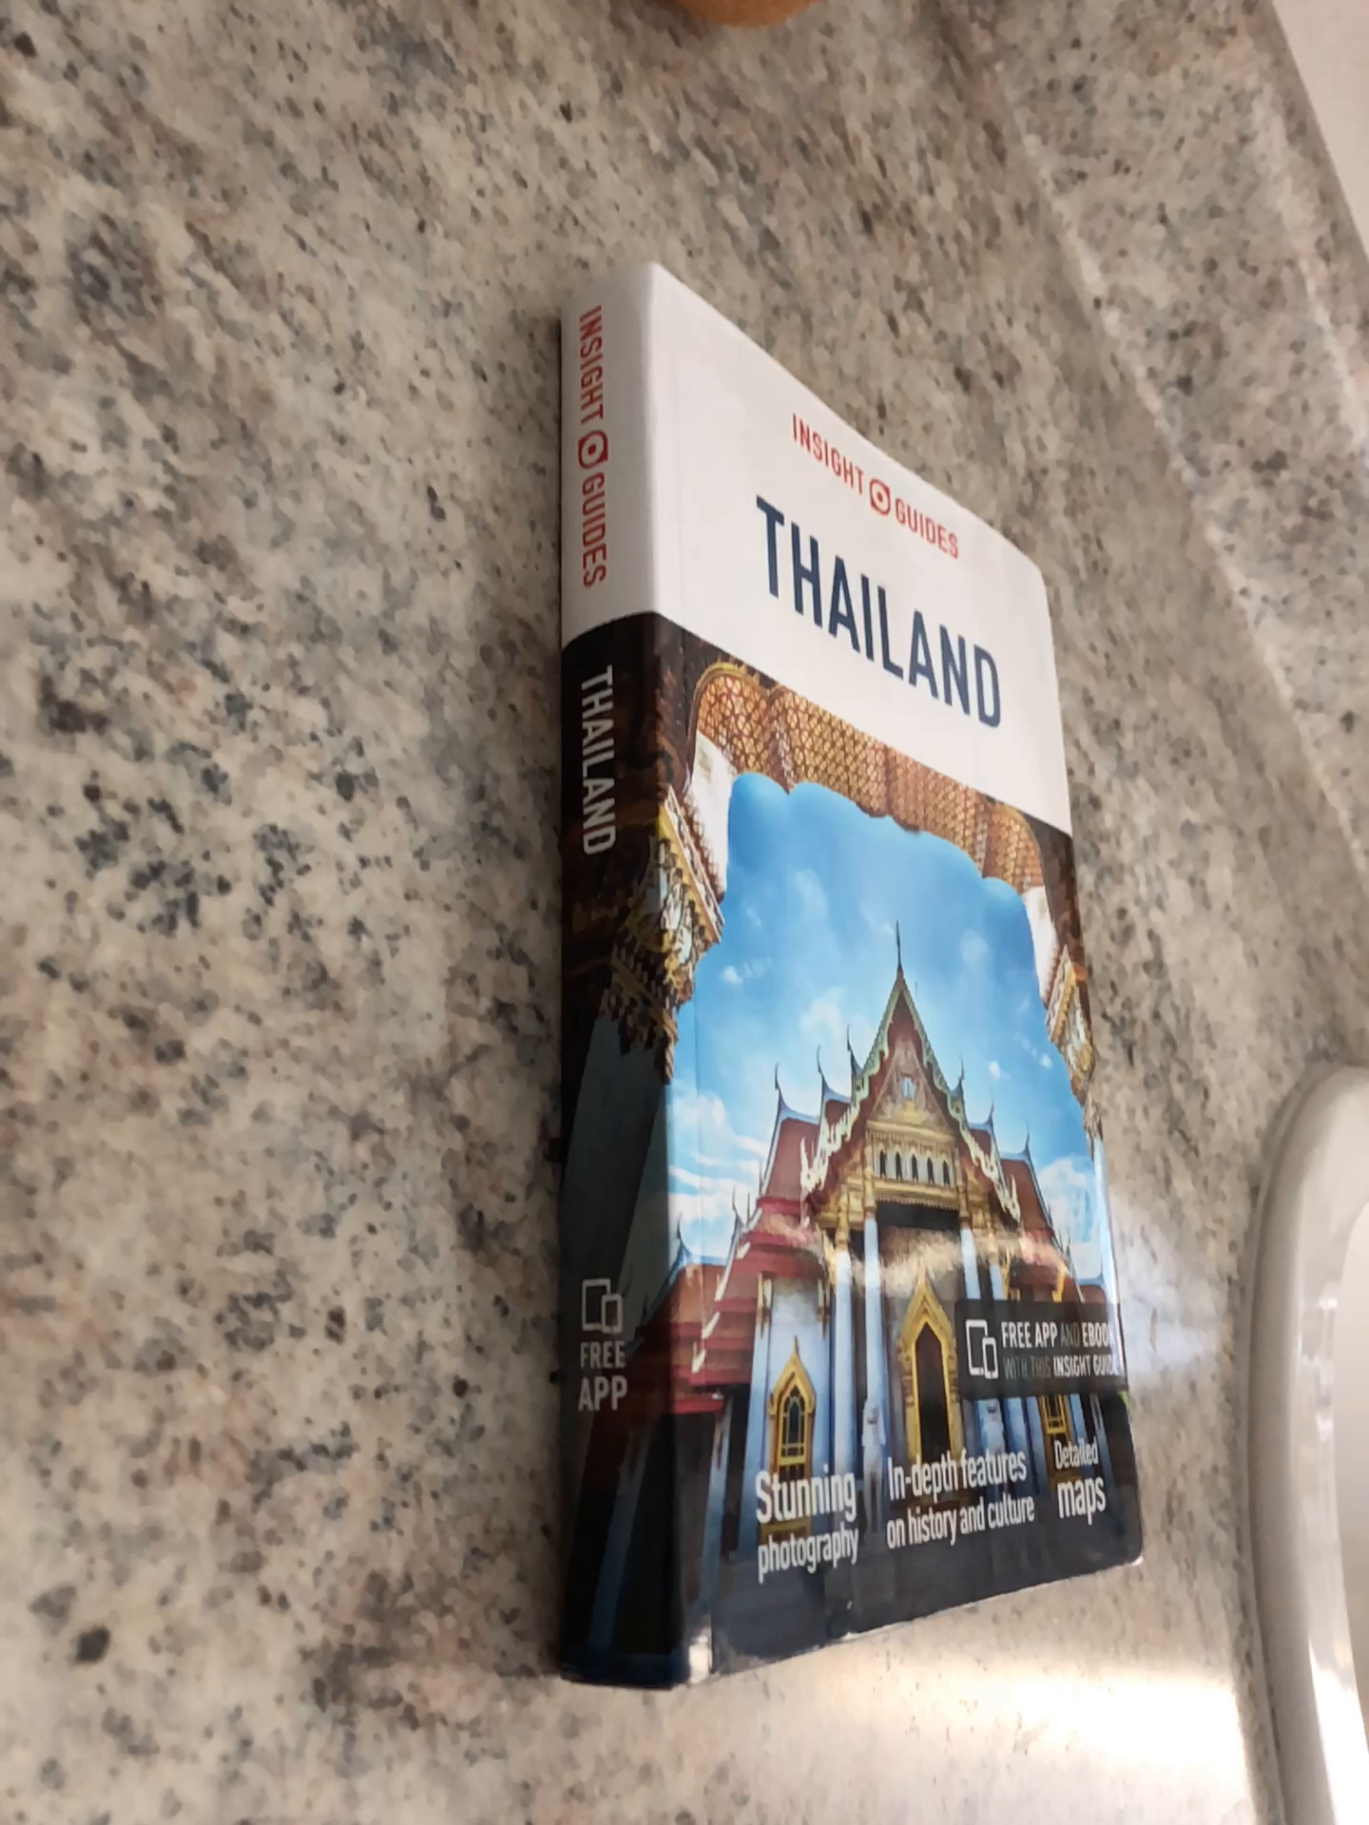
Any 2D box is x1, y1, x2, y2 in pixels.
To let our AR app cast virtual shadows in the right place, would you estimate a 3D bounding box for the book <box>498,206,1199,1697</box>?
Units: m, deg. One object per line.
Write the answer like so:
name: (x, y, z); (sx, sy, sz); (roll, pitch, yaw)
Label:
book: (0.035, 0.008, 0.303); (0.165, 0.030, 0.240); (19, 61, -48)
